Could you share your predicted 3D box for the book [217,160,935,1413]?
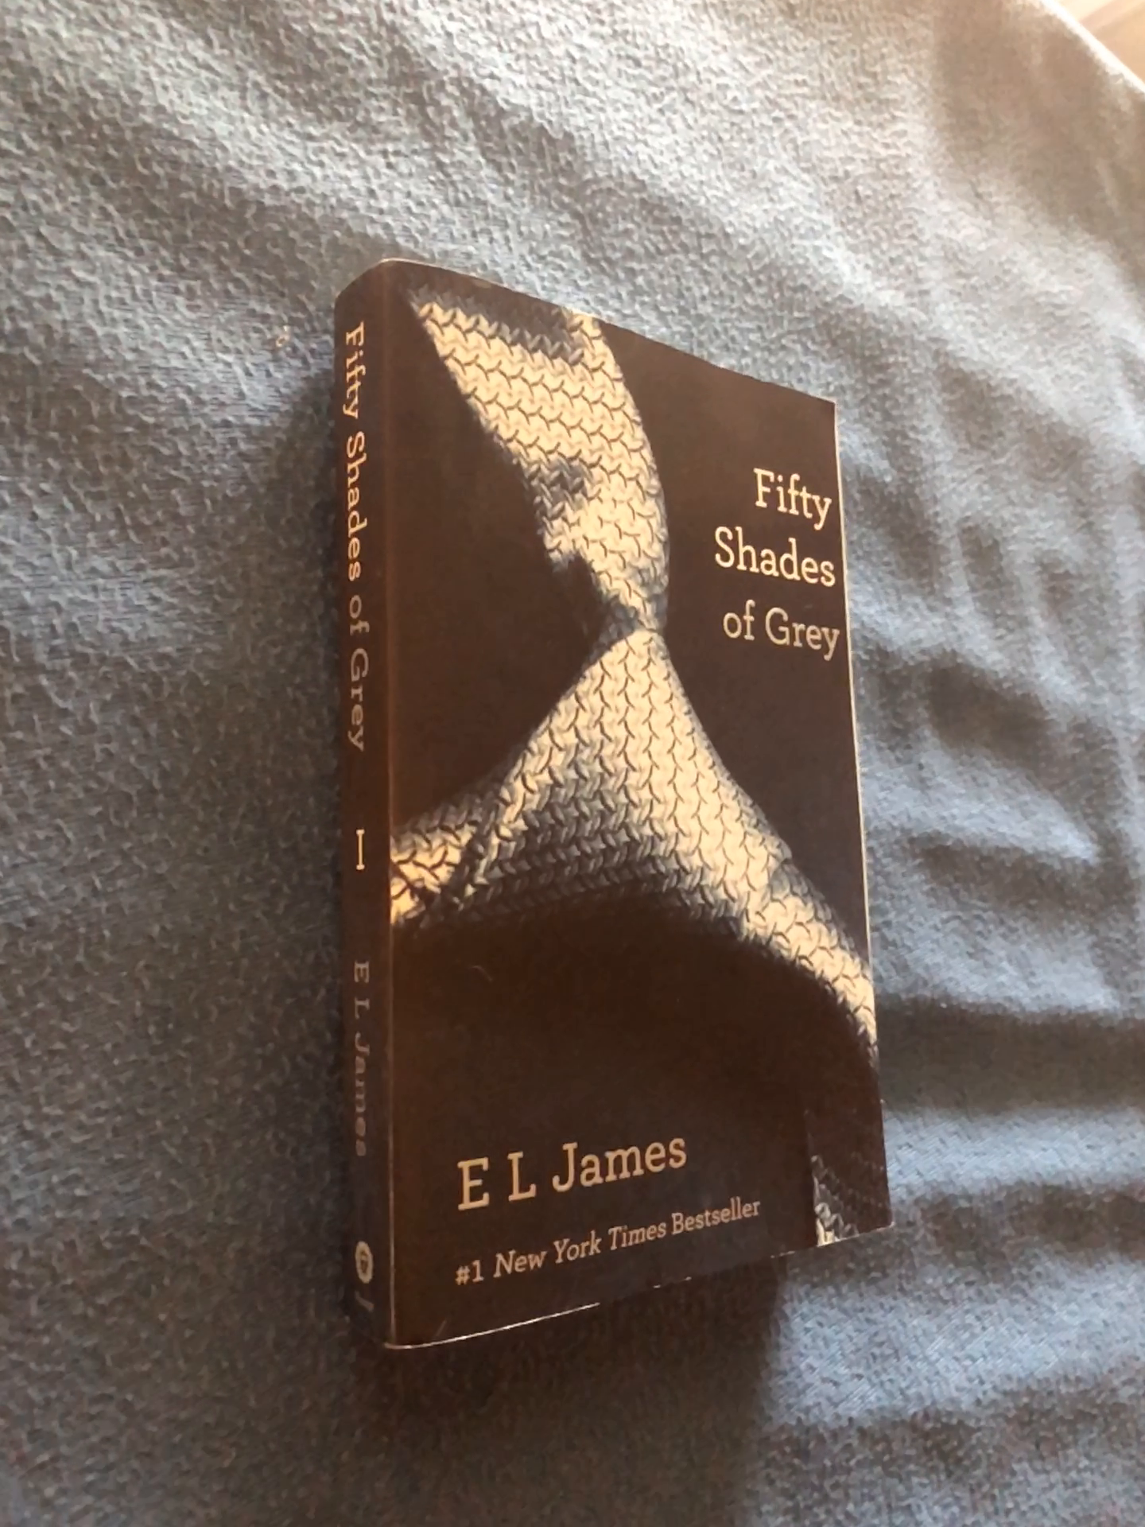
[{"bbox_3d":[0.005,0.003,0.272,0.151,0.040,0.210,3,80,-37],"label":"book"}]
